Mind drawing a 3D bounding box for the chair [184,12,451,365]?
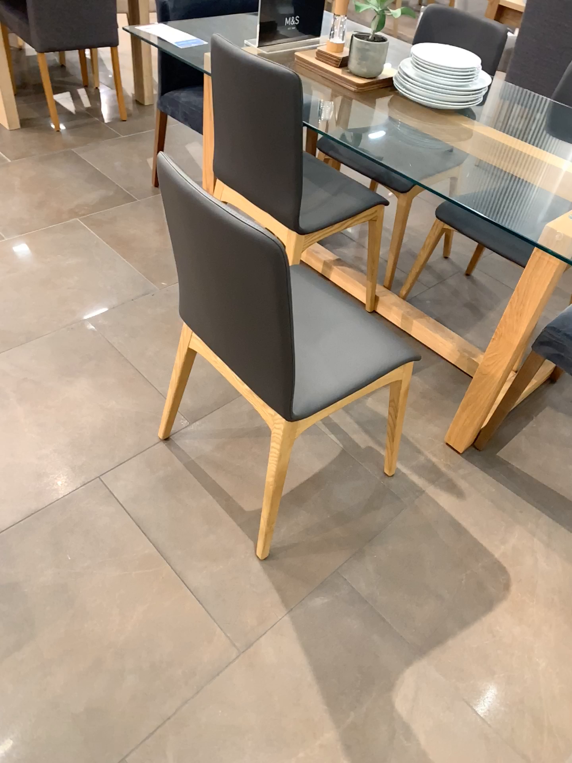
[{"bbox_3d":[0.041,-0.602,1.840,0.499,0.833,0.525,-30,56,-33],"label":"chair"}]

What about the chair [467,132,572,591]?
[{"bbox_3d":[0.972,-0.052,1.450,0.588,0.813,0.545,36,50,25],"label":"chair"}]

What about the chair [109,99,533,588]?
[{"bbox_3d":[0.018,-0.088,1.335,0.539,0.813,0.565,-27,54,-31],"label":"chair"}]
